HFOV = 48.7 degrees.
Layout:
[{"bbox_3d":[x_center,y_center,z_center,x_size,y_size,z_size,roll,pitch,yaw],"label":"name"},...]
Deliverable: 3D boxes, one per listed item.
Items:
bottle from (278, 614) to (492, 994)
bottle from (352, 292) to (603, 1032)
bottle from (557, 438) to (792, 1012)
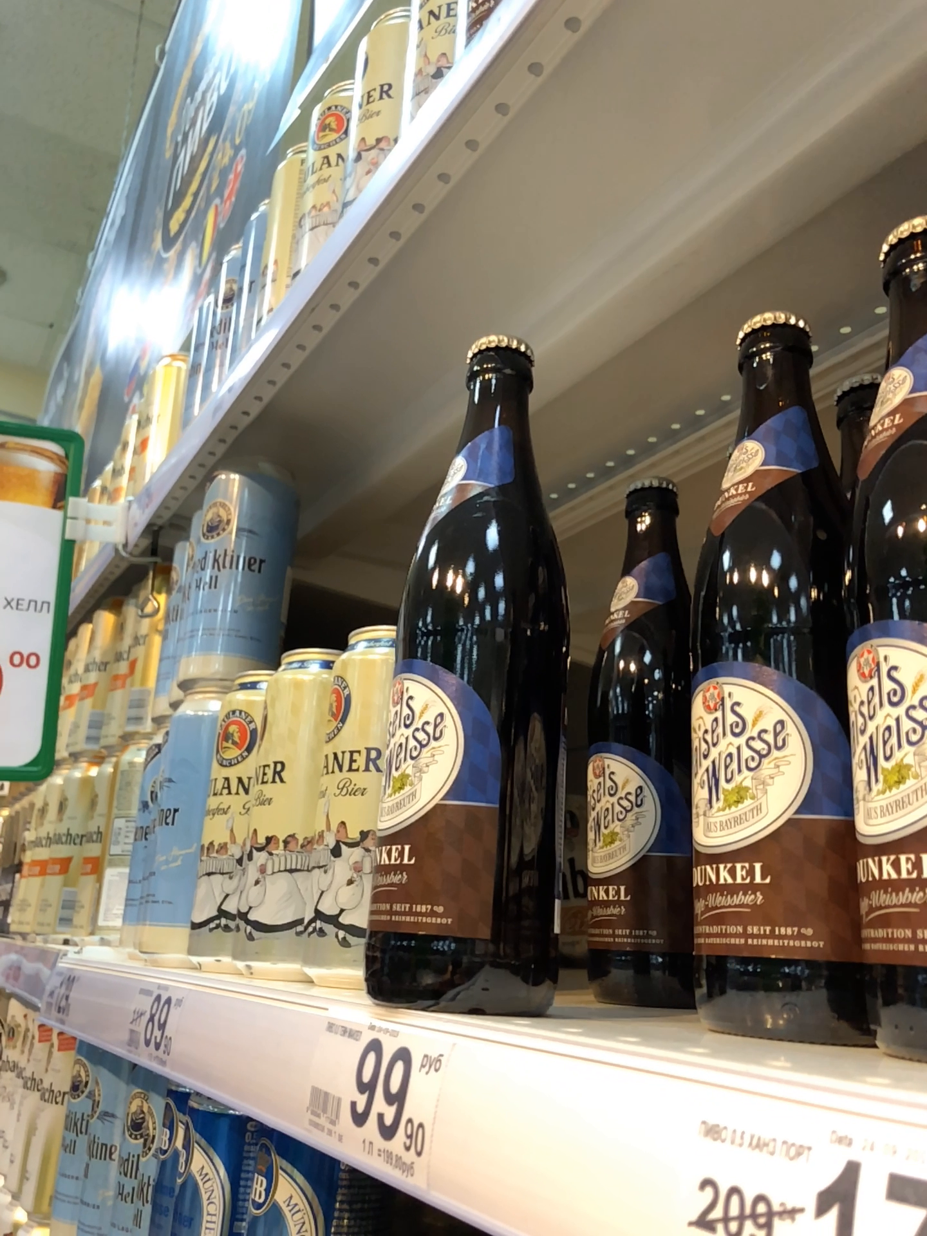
[{"bbox_3d":[-0.037,0.093,0.506,0.068,0.168,0.069,3,-18,1],"label":"bottle"},{"bbox_3d":[0.008,0.013,0.393,0.066,0.264,0.065,3,-18,1],"label":"bottle"},{"bbox_3d":[0.101,0.051,0.510,0.082,0.263,0.070,8,-19,-16],"label":"bottle"}]
